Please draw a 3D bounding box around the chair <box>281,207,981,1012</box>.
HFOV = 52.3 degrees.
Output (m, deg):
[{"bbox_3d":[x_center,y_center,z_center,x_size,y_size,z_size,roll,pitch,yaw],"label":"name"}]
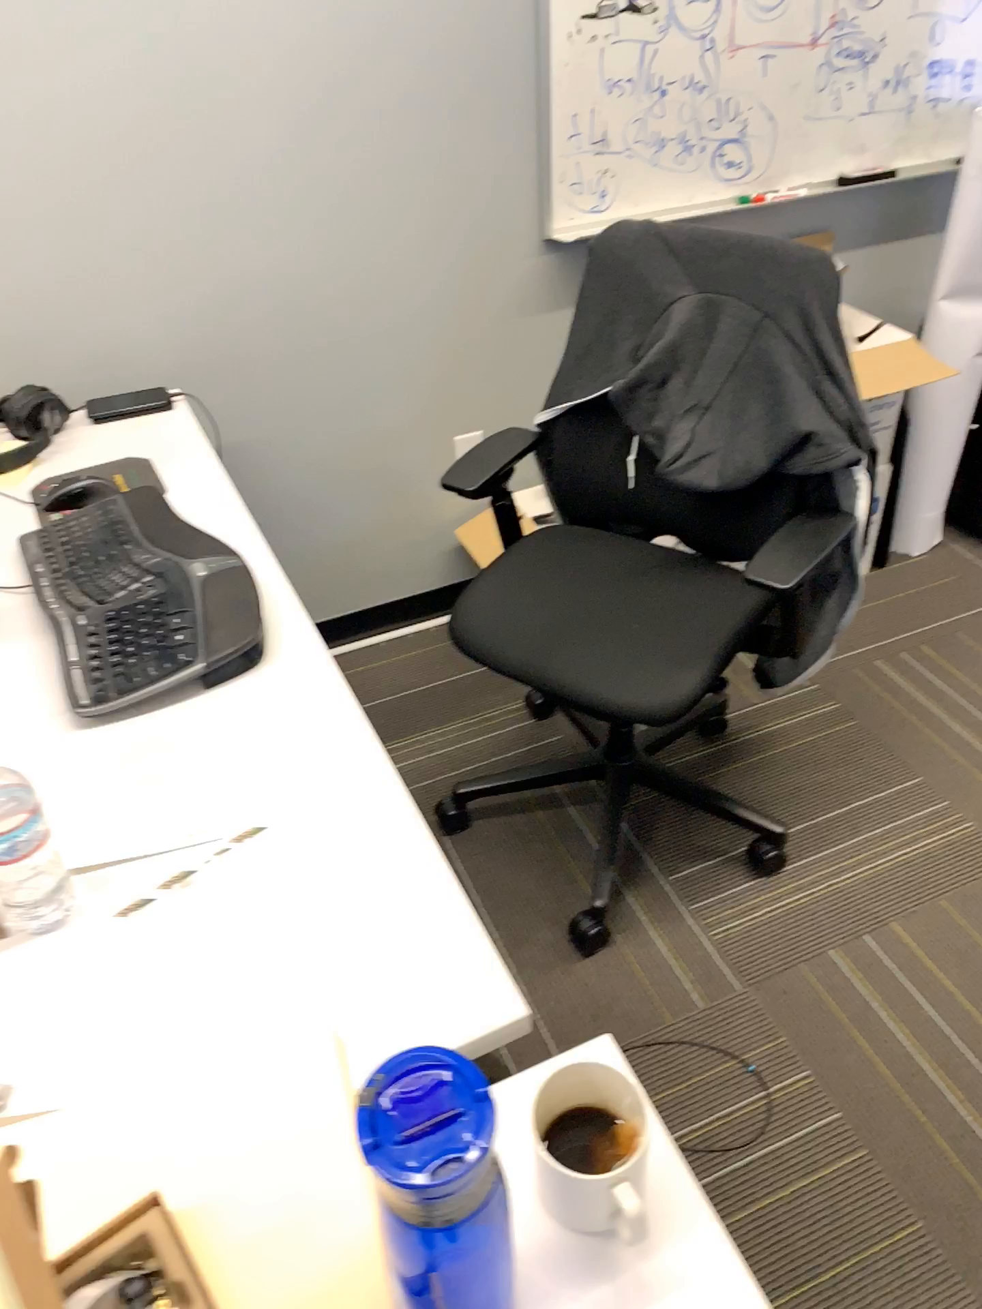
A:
[{"bbox_3d":[0.243,-0.126,1.773,0.773,0.994,0.732,28,48,34],"label":"chair"}]
